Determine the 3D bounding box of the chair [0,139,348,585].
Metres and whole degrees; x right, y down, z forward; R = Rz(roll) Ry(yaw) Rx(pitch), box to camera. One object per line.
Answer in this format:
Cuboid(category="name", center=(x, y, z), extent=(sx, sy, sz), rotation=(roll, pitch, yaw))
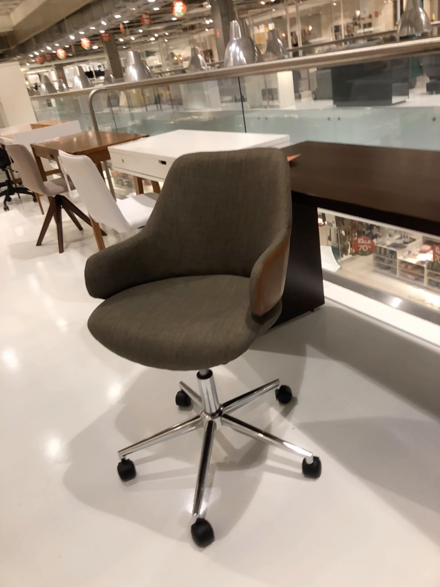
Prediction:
Cuboid(category="chair", center=(-0.048, 0.113, 1.368), extent=(0.611, 0.884, 0.704), rotation=(3, 28, 28))
